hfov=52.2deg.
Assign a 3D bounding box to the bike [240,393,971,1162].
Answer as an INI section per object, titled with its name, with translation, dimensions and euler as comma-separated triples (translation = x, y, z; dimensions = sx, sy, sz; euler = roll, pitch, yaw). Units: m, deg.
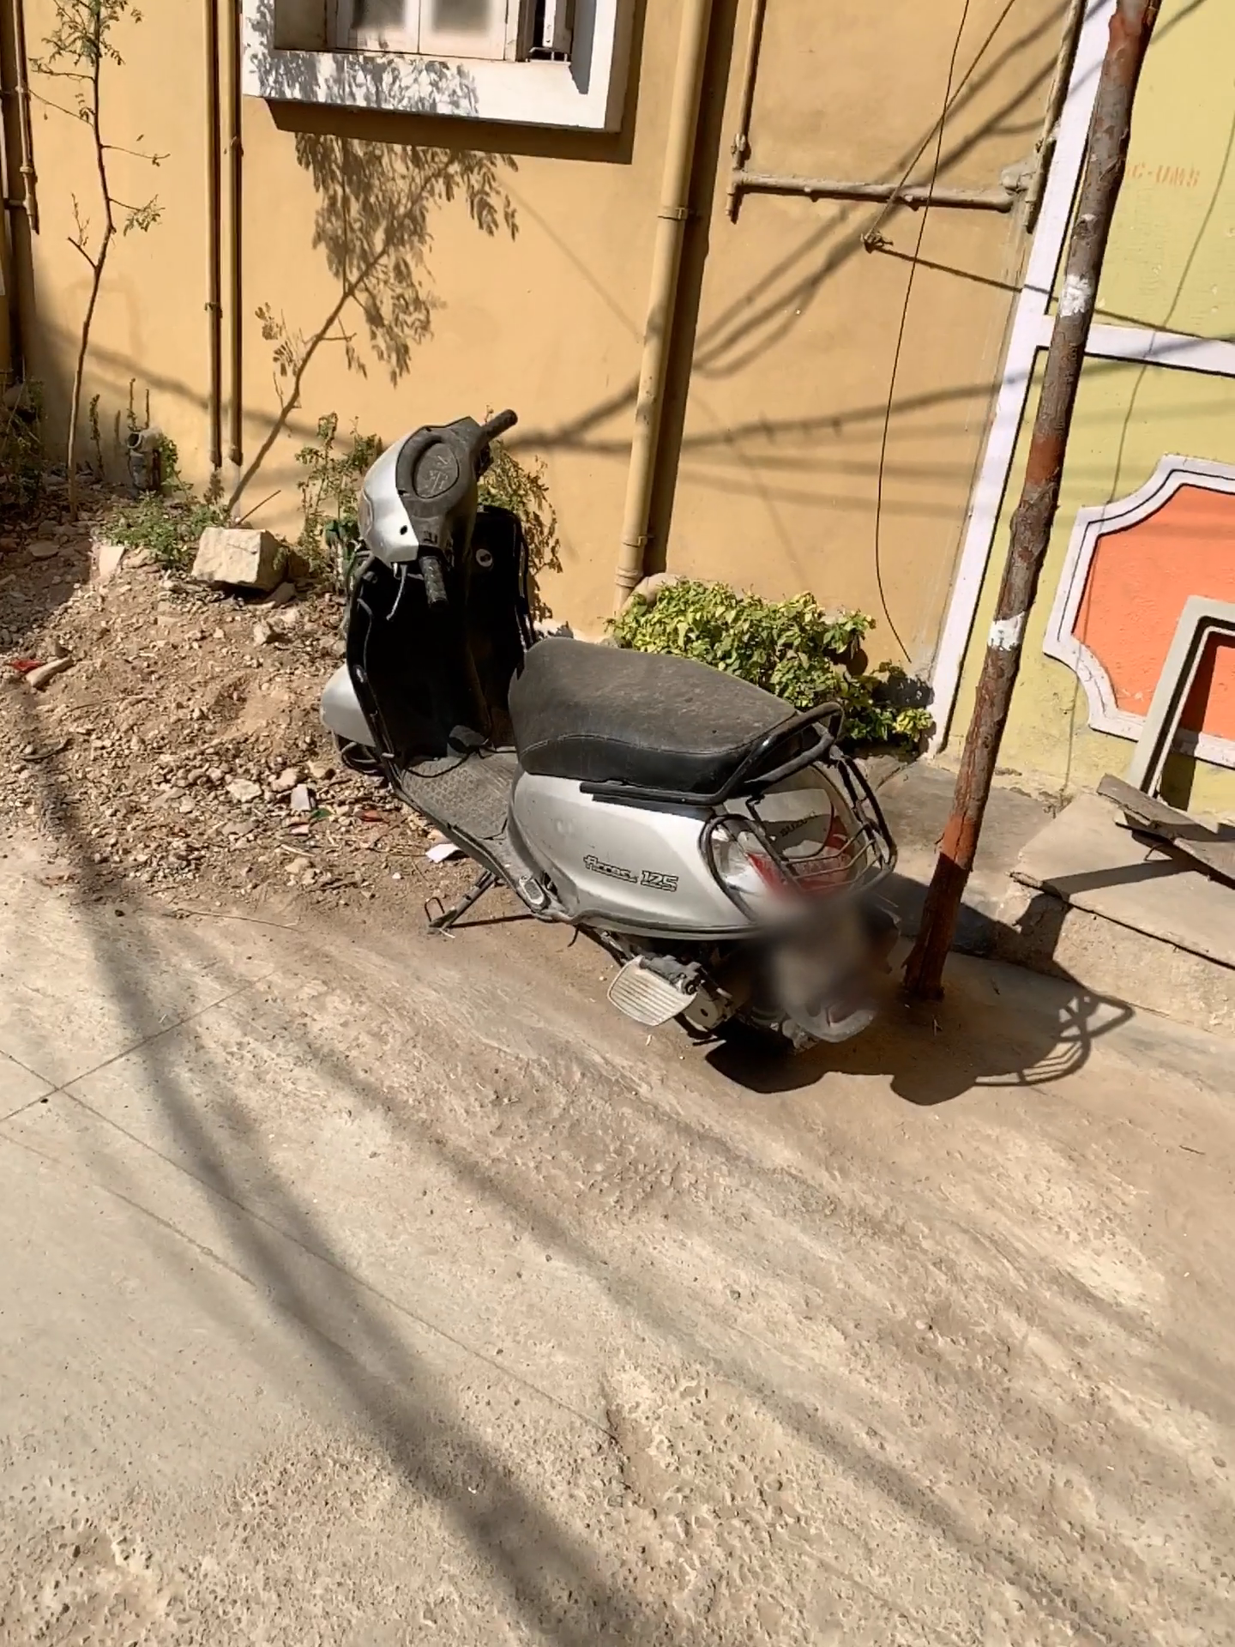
[bike]
translation = -0.171, -0.237, 2.563
dimensions = 0.550, 1.001, 1.511
euler = -15, 32, -39
